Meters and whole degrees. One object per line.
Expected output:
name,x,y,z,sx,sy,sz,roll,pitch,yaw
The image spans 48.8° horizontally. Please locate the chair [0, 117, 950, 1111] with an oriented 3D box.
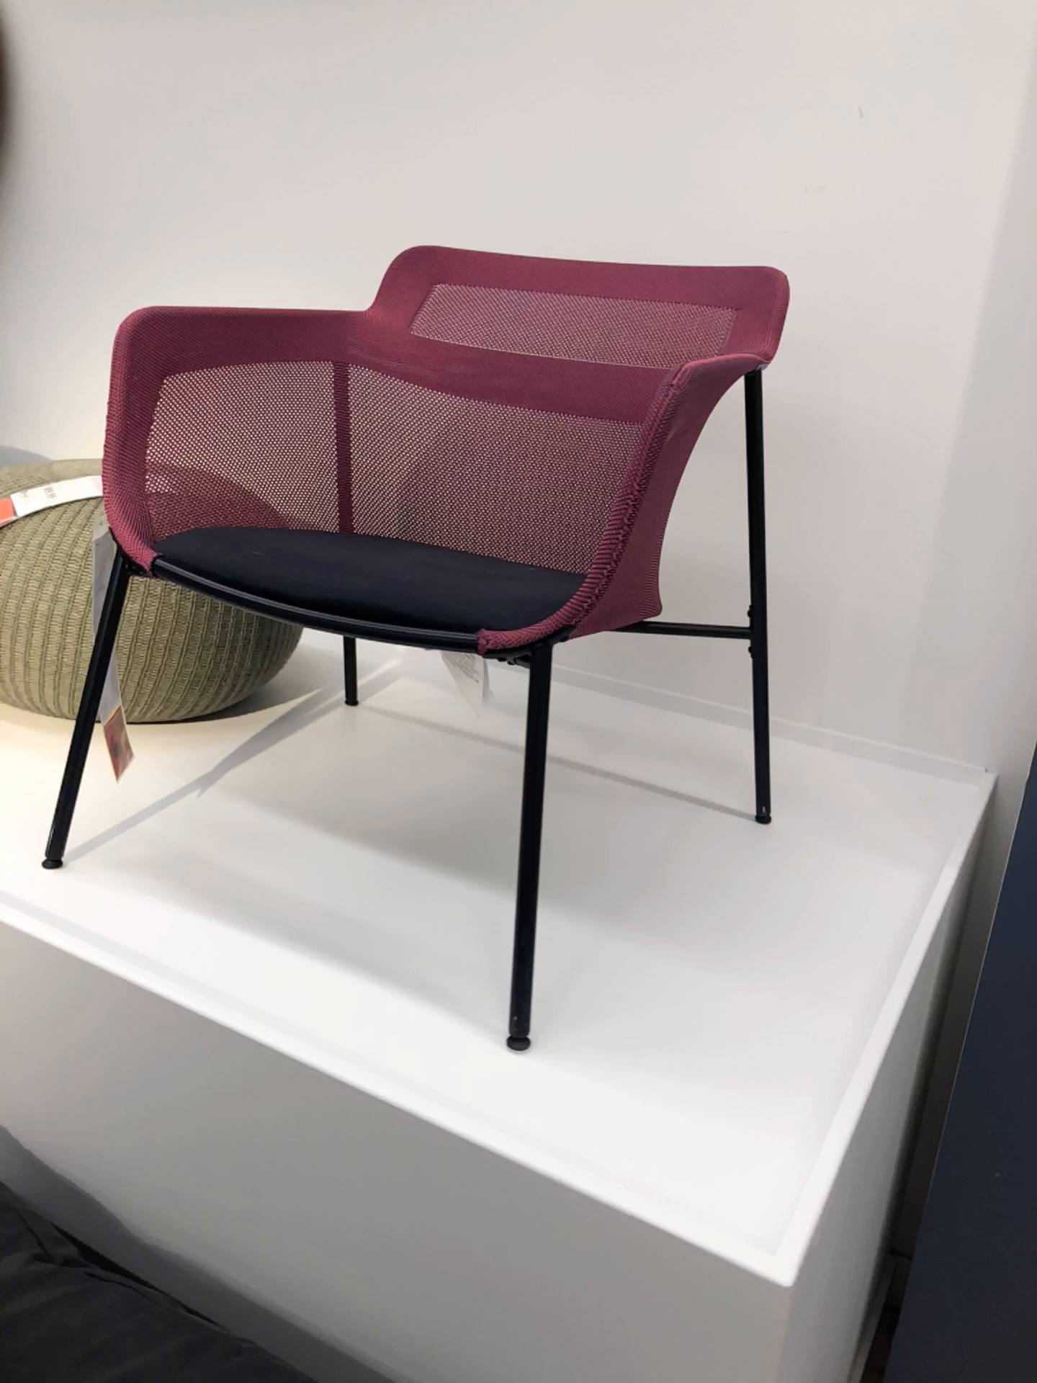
chair,-0.008,-0.215,1.432,0.780,0.747,1.013,14,20,25
